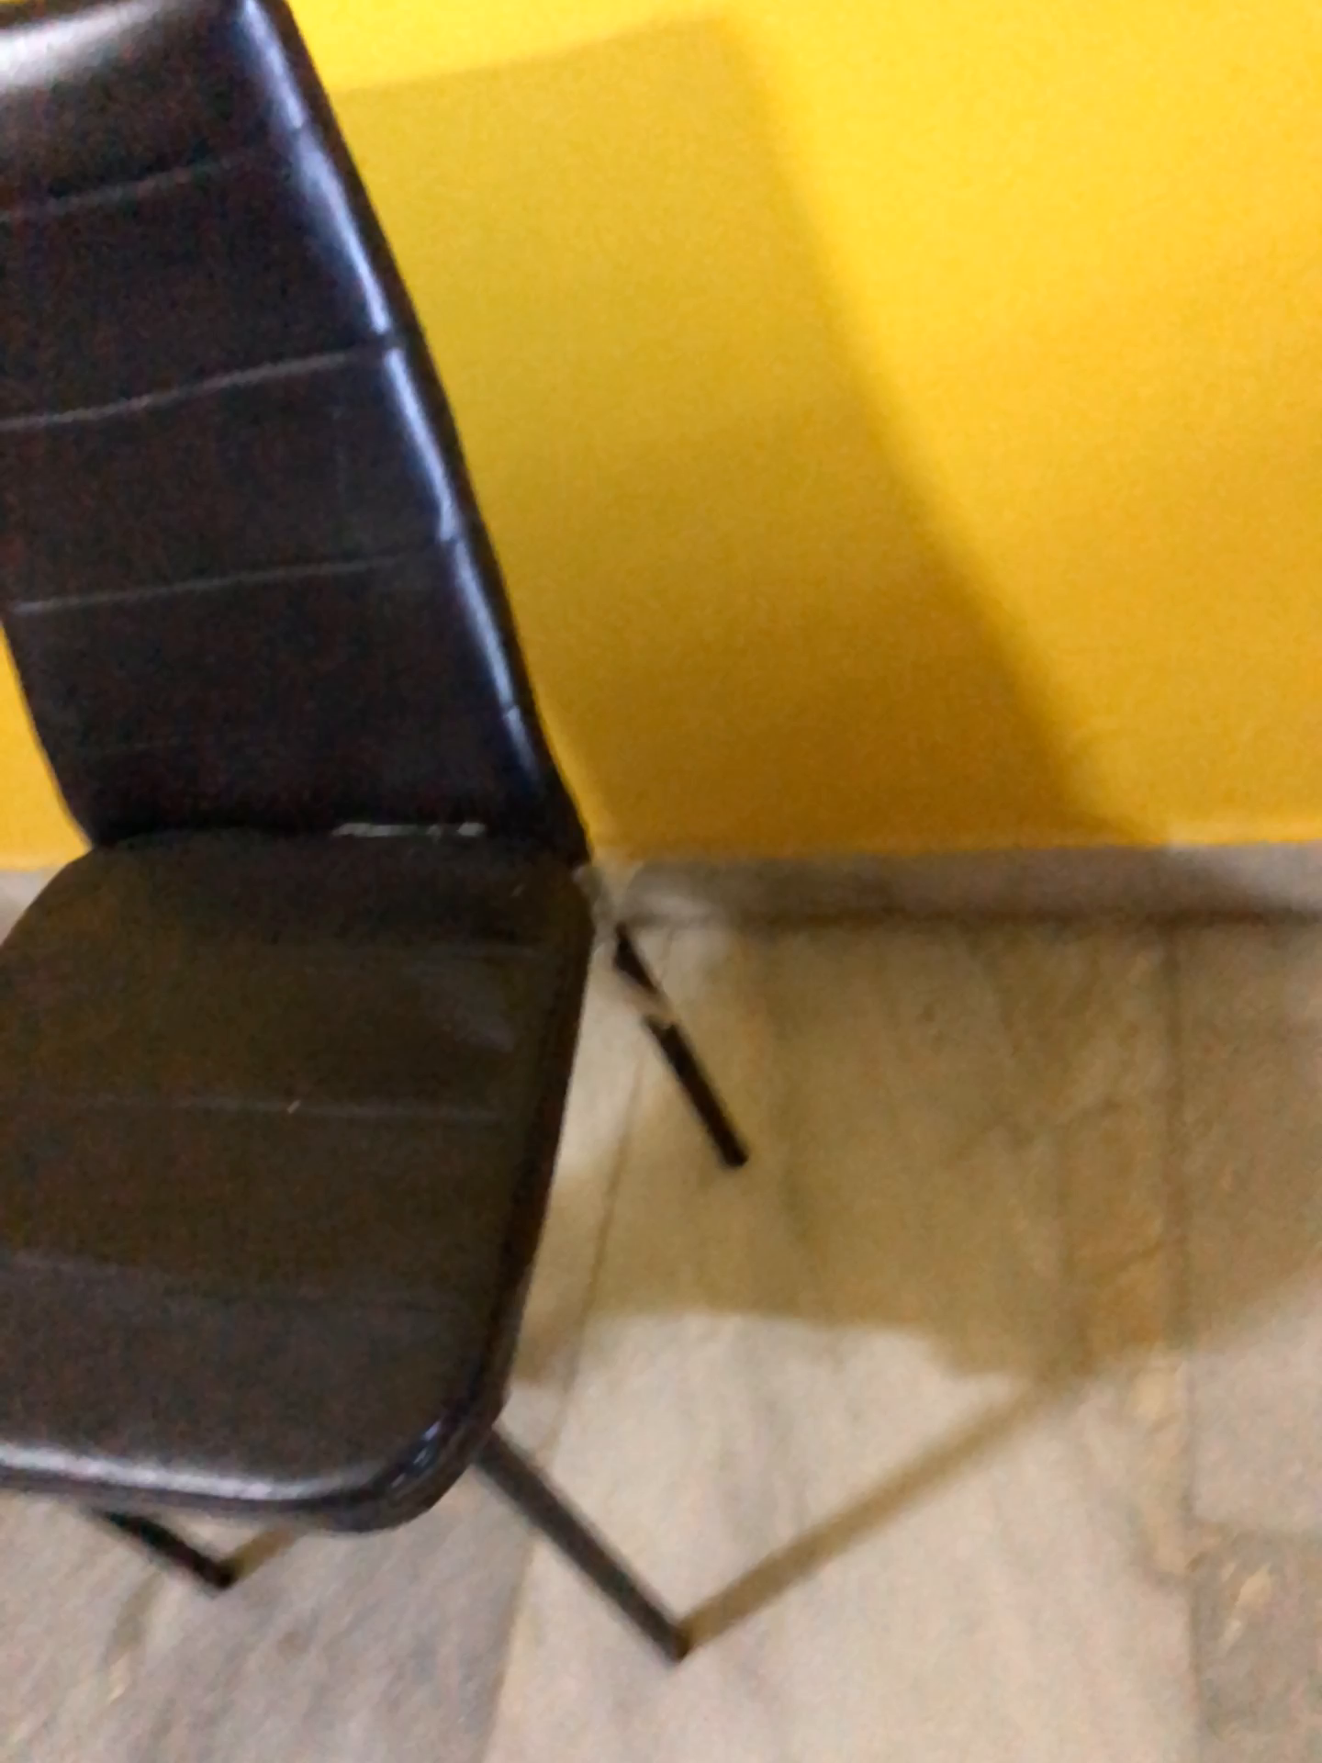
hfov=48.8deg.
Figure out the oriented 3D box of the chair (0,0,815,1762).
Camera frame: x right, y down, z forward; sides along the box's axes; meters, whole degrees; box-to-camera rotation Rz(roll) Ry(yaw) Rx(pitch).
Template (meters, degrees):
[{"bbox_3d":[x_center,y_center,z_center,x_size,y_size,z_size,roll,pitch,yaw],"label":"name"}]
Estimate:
[{"bbox_3d":[-0.259,0.076,0.843,0.480,0.906,0.532,0,51,19],"label":"chair"}]
